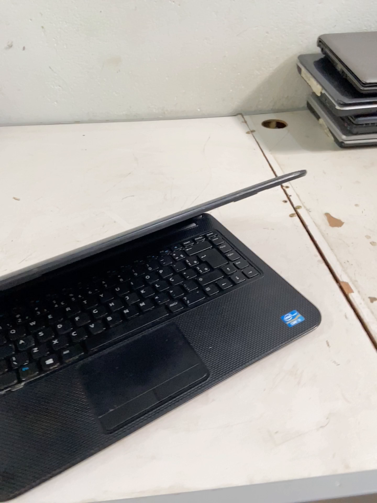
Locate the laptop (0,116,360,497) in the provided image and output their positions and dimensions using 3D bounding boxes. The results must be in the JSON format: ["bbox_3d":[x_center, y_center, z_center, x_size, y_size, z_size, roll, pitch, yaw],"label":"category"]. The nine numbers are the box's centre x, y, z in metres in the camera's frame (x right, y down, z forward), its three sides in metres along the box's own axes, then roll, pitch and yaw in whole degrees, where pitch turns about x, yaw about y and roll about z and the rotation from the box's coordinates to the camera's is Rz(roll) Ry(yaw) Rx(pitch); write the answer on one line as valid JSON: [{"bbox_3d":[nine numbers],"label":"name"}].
[{"bbox_3d":[-0.057,0.005,0.379,0.331,0.141,0.231,-21,43,-23],"label":"laptop"}]
